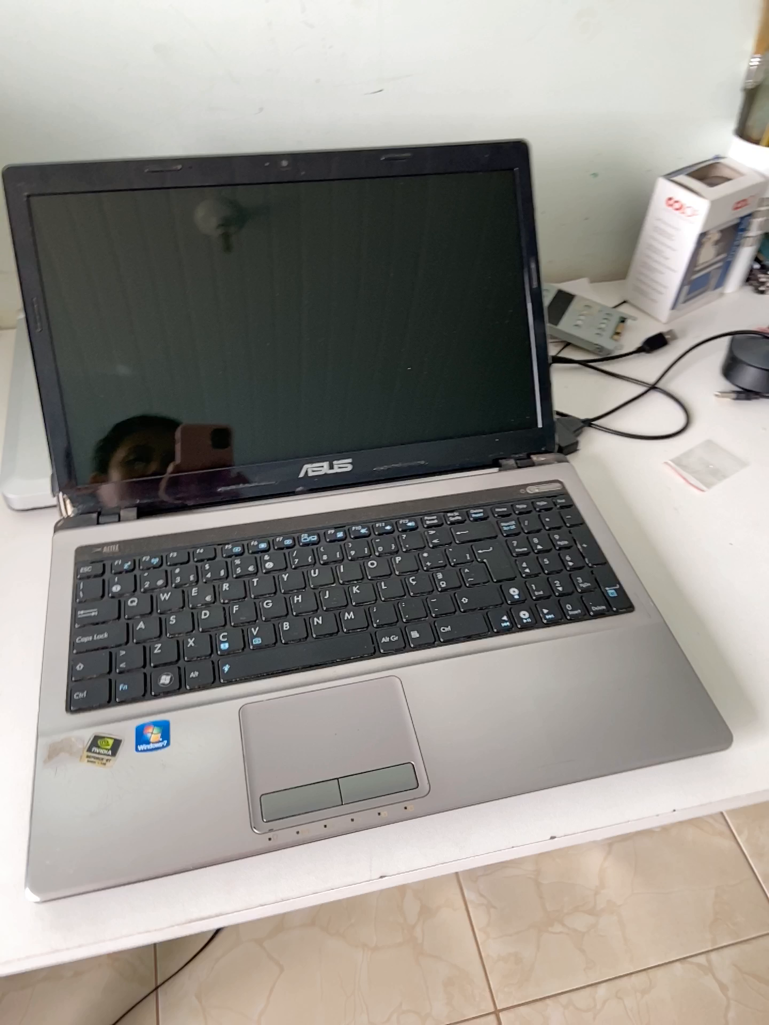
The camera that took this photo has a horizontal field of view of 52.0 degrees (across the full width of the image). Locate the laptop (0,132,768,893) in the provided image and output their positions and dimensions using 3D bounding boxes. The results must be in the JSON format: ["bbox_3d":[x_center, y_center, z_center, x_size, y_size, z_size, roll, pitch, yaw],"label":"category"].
[{"bbox_3d":[-0.034,-0.054,0.490,0.376,0.179,0.417,-8,47,-10],"label":"laptop"}]
